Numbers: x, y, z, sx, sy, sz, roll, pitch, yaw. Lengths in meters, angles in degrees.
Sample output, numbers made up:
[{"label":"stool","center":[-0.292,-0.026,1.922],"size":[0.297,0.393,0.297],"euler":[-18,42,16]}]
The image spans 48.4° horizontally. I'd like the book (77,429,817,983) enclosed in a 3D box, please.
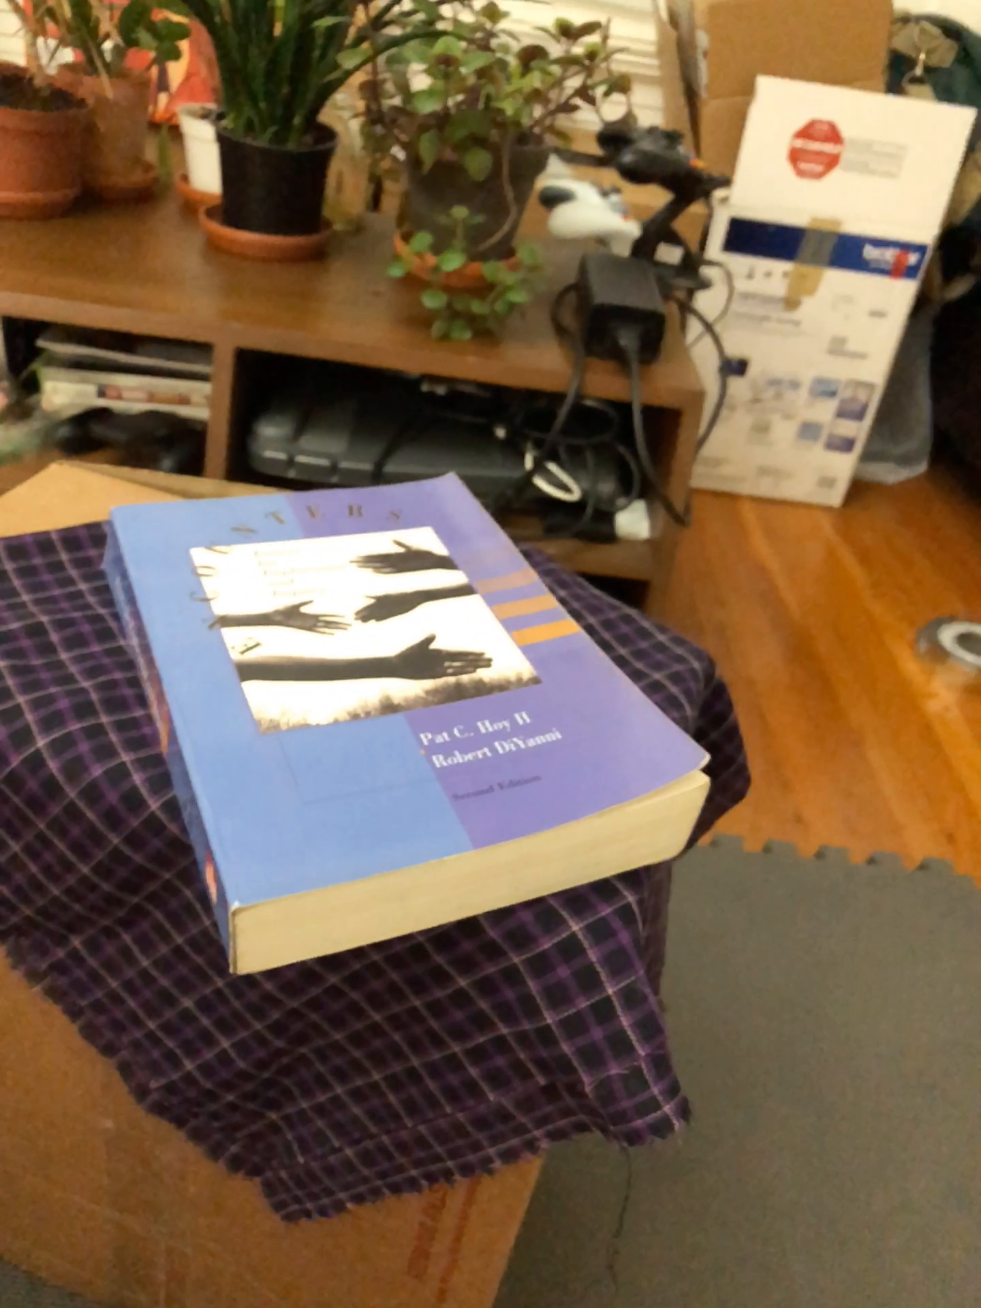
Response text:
[{"label":"book","center":[-0.037,-0.011,0.430],"size":[0.200,0.040,0.261],"euler":[-8,38,-25]}]
